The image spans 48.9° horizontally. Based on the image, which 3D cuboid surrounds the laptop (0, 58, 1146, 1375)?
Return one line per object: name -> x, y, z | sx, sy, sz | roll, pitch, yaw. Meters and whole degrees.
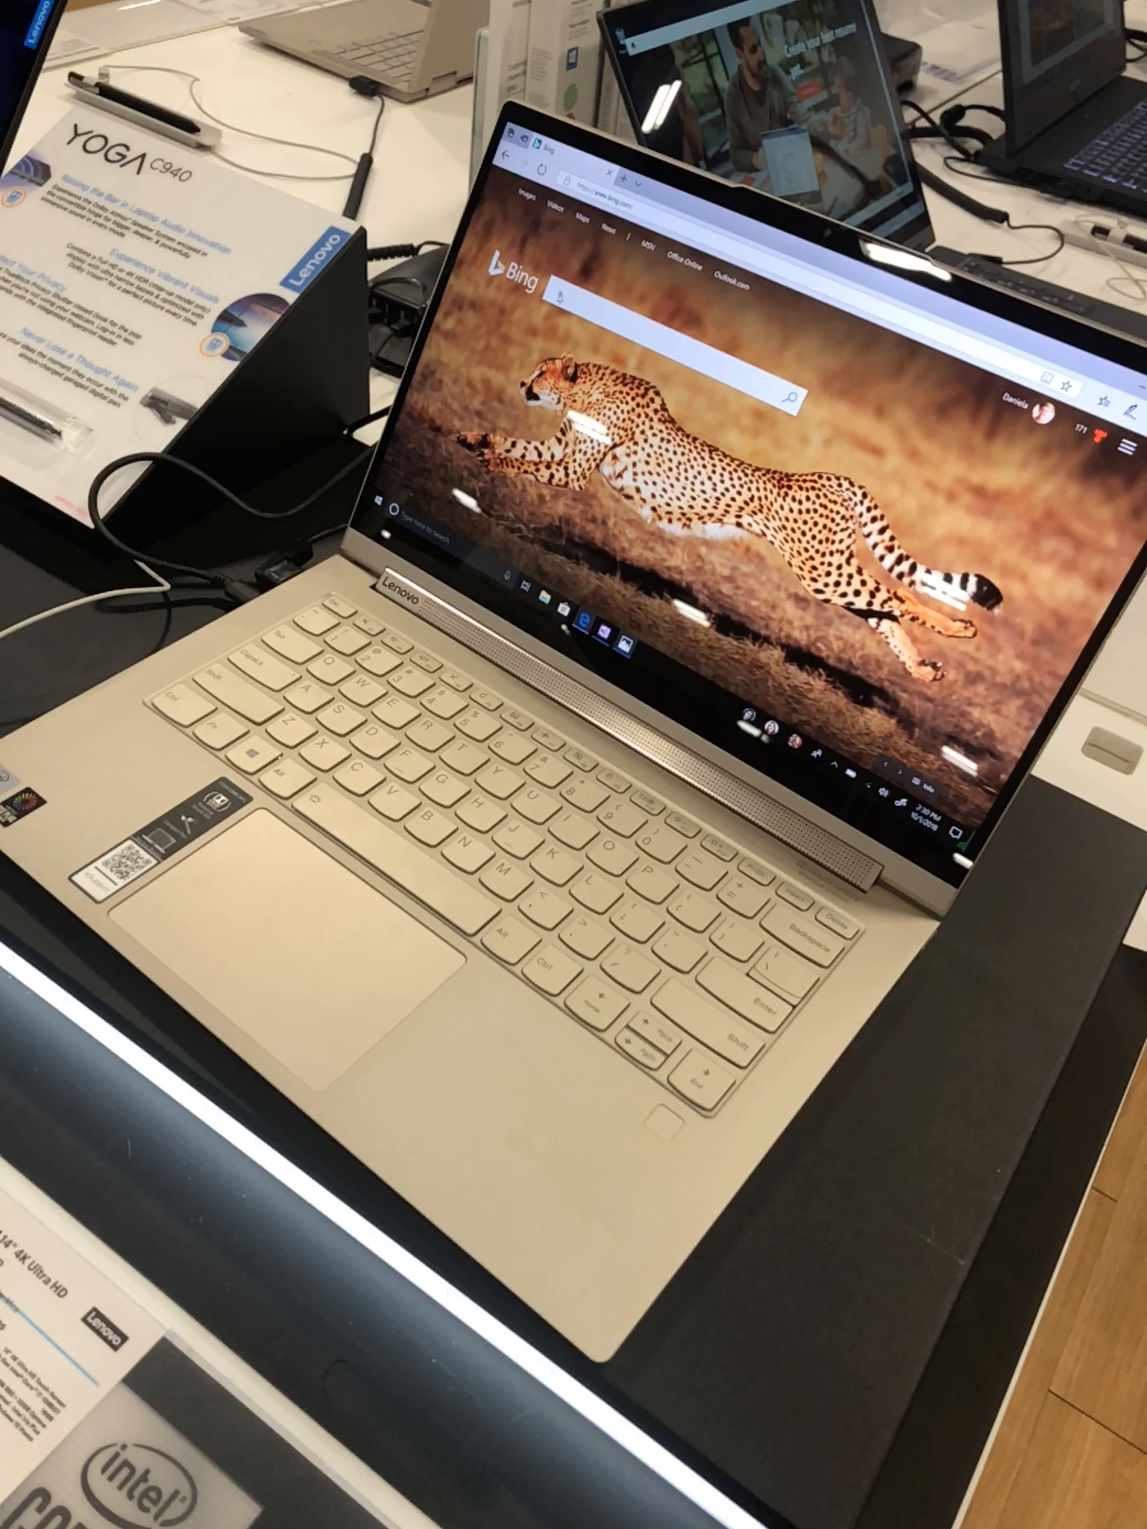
laptop -> -0.008, -0.068, 0.440 | 0.320, 0.170, 0.327 | 33, 53, 24
